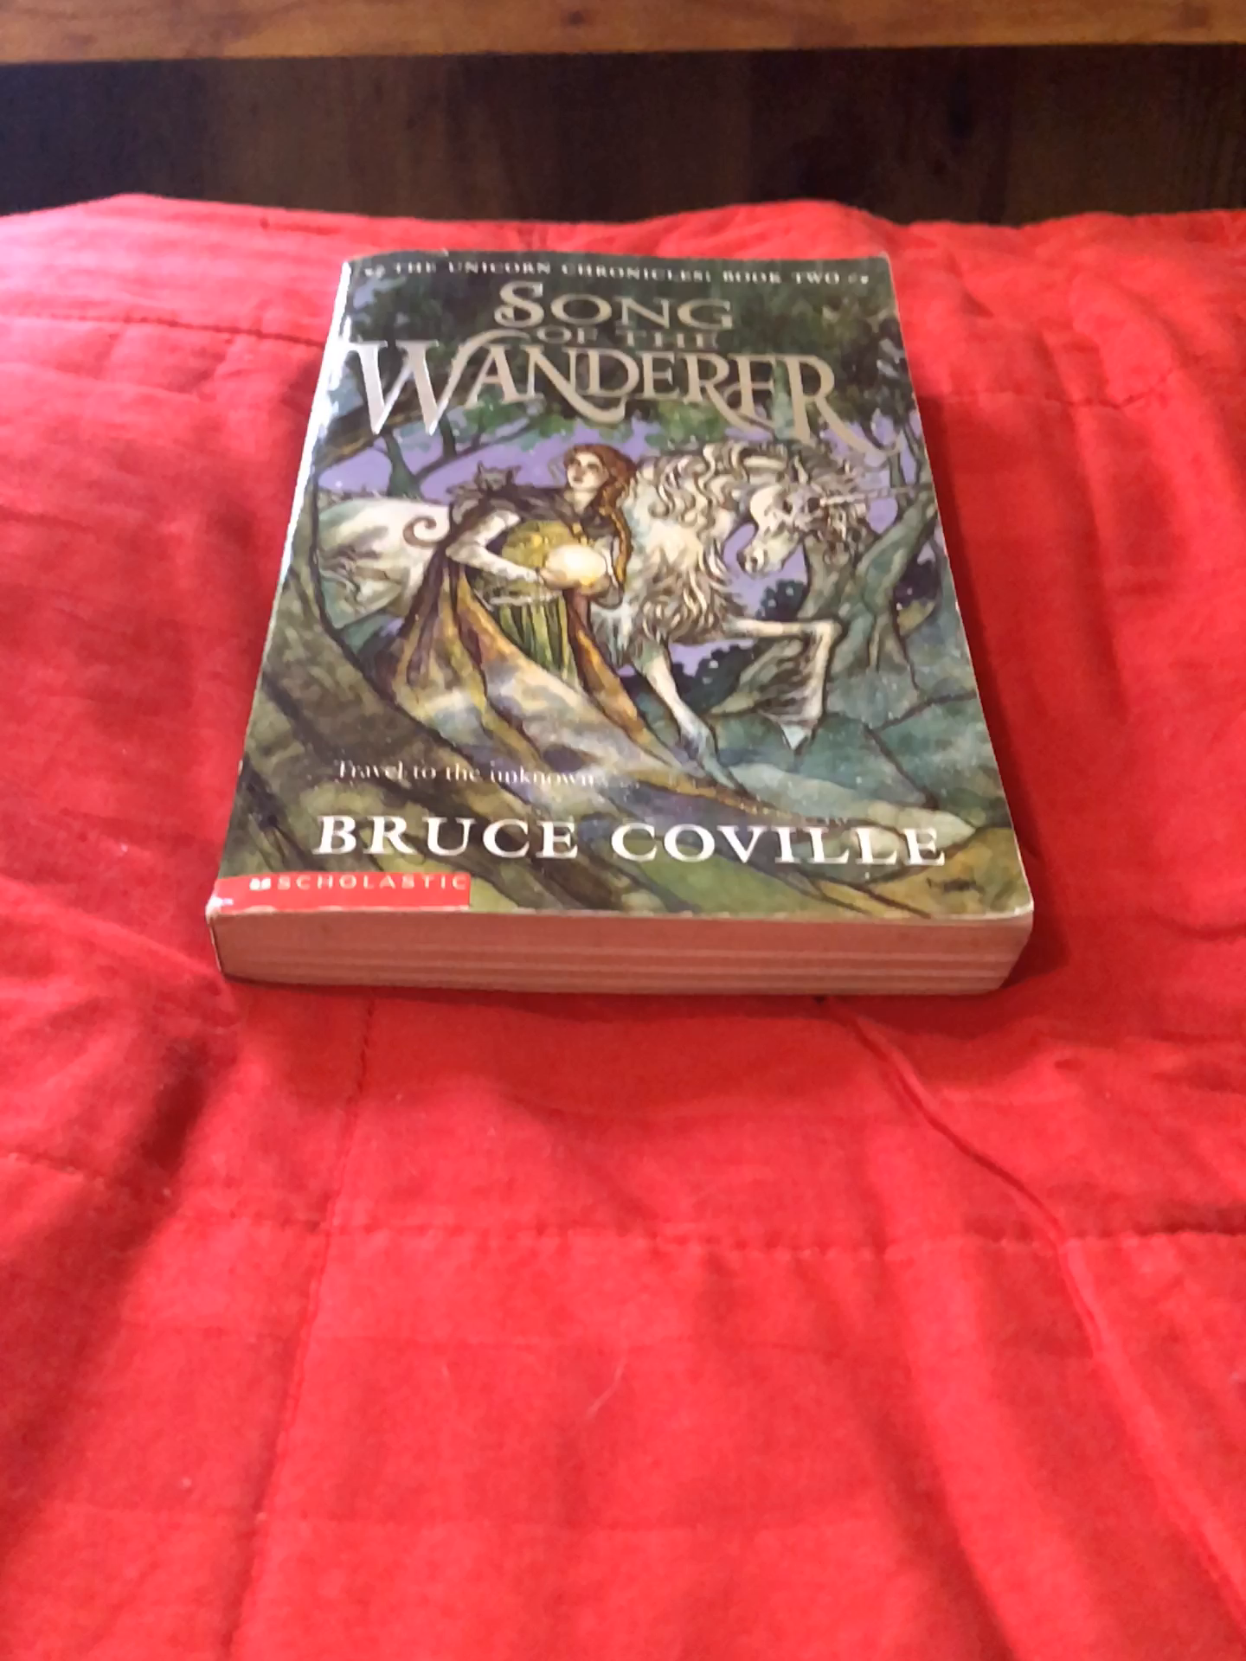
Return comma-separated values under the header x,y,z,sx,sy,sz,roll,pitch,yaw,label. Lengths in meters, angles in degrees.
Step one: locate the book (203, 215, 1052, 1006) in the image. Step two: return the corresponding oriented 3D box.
x,y,z,sx,sy,sz,roll,pitch,yaw,label
0.000,-0.057,0.280,0.130,0.030,0.192,0,55,-1,book
